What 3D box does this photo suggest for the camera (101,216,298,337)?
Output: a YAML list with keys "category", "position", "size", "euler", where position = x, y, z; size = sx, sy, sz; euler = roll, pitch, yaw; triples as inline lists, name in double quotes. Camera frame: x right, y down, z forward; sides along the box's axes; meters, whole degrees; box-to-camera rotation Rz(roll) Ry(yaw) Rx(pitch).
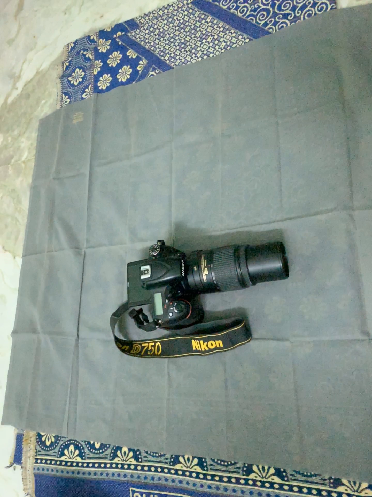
- category: "camera"
  position: [0.013, 0.060, 0.609]
  size: [0.288, 0.110, 0.147]
  euler: [-10, 74, 26]
